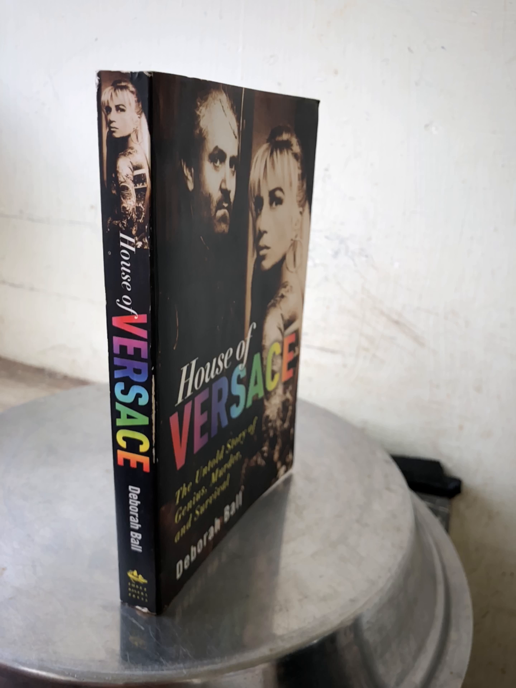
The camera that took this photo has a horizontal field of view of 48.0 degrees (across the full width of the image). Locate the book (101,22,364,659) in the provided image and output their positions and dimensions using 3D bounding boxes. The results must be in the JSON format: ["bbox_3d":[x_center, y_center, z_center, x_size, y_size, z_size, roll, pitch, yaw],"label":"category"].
[{"bbox_3d":[-0.003,-0.010,0.279,0.040,0.219,0.181,11,18,20],"label":"book"}]
